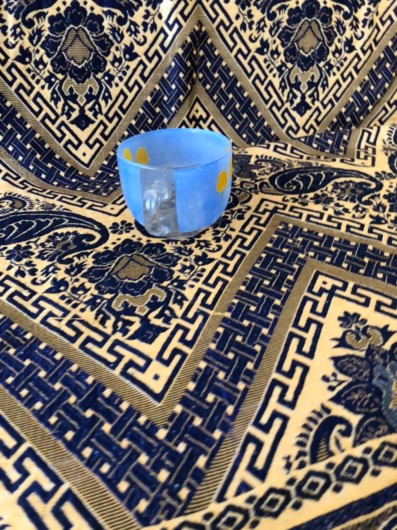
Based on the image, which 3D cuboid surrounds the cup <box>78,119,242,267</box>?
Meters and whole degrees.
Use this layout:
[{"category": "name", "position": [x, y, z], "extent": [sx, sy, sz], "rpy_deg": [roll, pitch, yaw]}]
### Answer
[{"category": "cup", "position": [-0.026, -0.075, 0.411], "extent": [0.108, 0.072, 0.139], "rpy_deg": [9, 36, 11]}]
